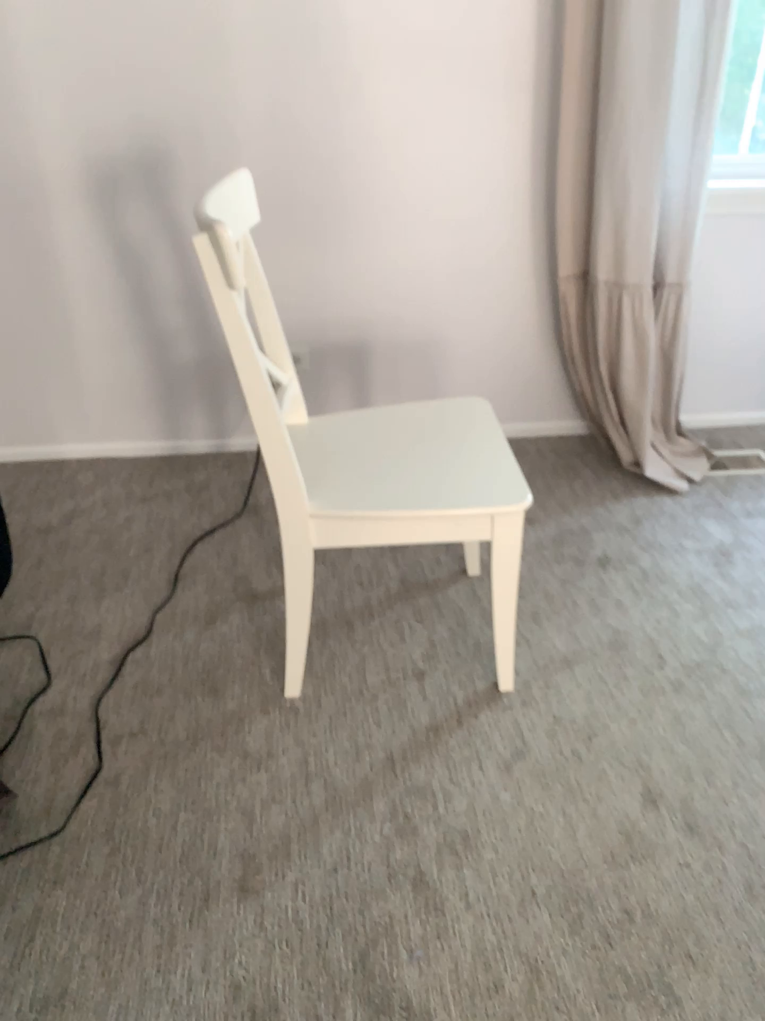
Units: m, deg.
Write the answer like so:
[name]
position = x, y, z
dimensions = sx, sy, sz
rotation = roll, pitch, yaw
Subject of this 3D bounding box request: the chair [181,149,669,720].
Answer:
[chair]
position = 0.026, -0.160, 1.371
dimensions = 0.570, 0.765, 0.614
rotation = -3, 32, -5
